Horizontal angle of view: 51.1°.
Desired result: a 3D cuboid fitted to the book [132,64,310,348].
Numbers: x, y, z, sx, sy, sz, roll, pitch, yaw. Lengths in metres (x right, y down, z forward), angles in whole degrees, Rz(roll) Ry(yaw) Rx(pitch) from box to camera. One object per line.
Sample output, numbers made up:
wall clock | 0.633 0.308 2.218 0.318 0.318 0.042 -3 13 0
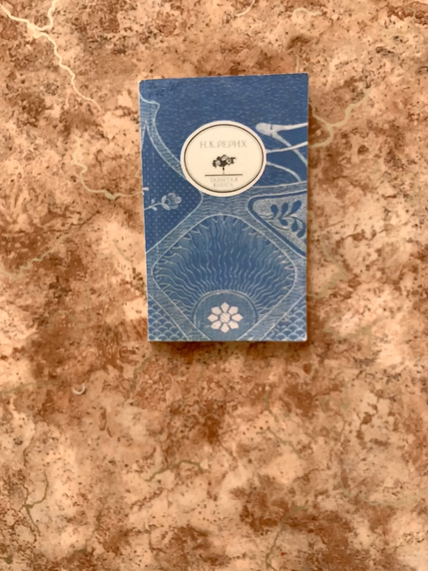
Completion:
book | 0.007 -0.055 0.337 0.125 0.015 0.202 -2 96 2
